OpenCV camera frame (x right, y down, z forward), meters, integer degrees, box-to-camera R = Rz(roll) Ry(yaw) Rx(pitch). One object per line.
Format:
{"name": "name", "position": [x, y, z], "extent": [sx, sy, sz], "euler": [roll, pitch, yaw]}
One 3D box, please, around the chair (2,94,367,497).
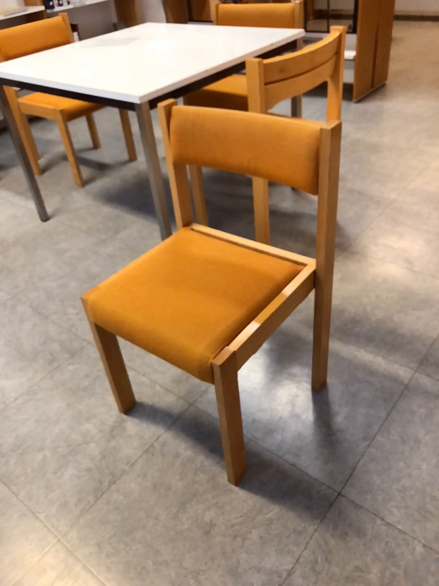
{"name": "chair", "position": [-0.036, -0.033, 1.204], "extent": [0.550, 0.696, 0.523], "euler": [22, 46, 33]}
